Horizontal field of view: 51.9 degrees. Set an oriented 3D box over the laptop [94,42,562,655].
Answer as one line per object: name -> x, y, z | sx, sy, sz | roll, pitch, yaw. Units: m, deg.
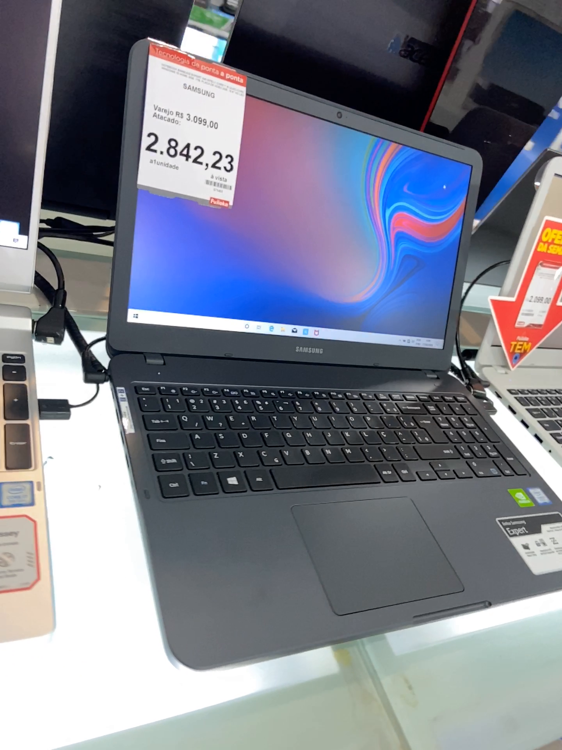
laptop -> 0.080, -0.046, 0.452 | 0.367, 0.193, 0.370 | 3, 39, -29
